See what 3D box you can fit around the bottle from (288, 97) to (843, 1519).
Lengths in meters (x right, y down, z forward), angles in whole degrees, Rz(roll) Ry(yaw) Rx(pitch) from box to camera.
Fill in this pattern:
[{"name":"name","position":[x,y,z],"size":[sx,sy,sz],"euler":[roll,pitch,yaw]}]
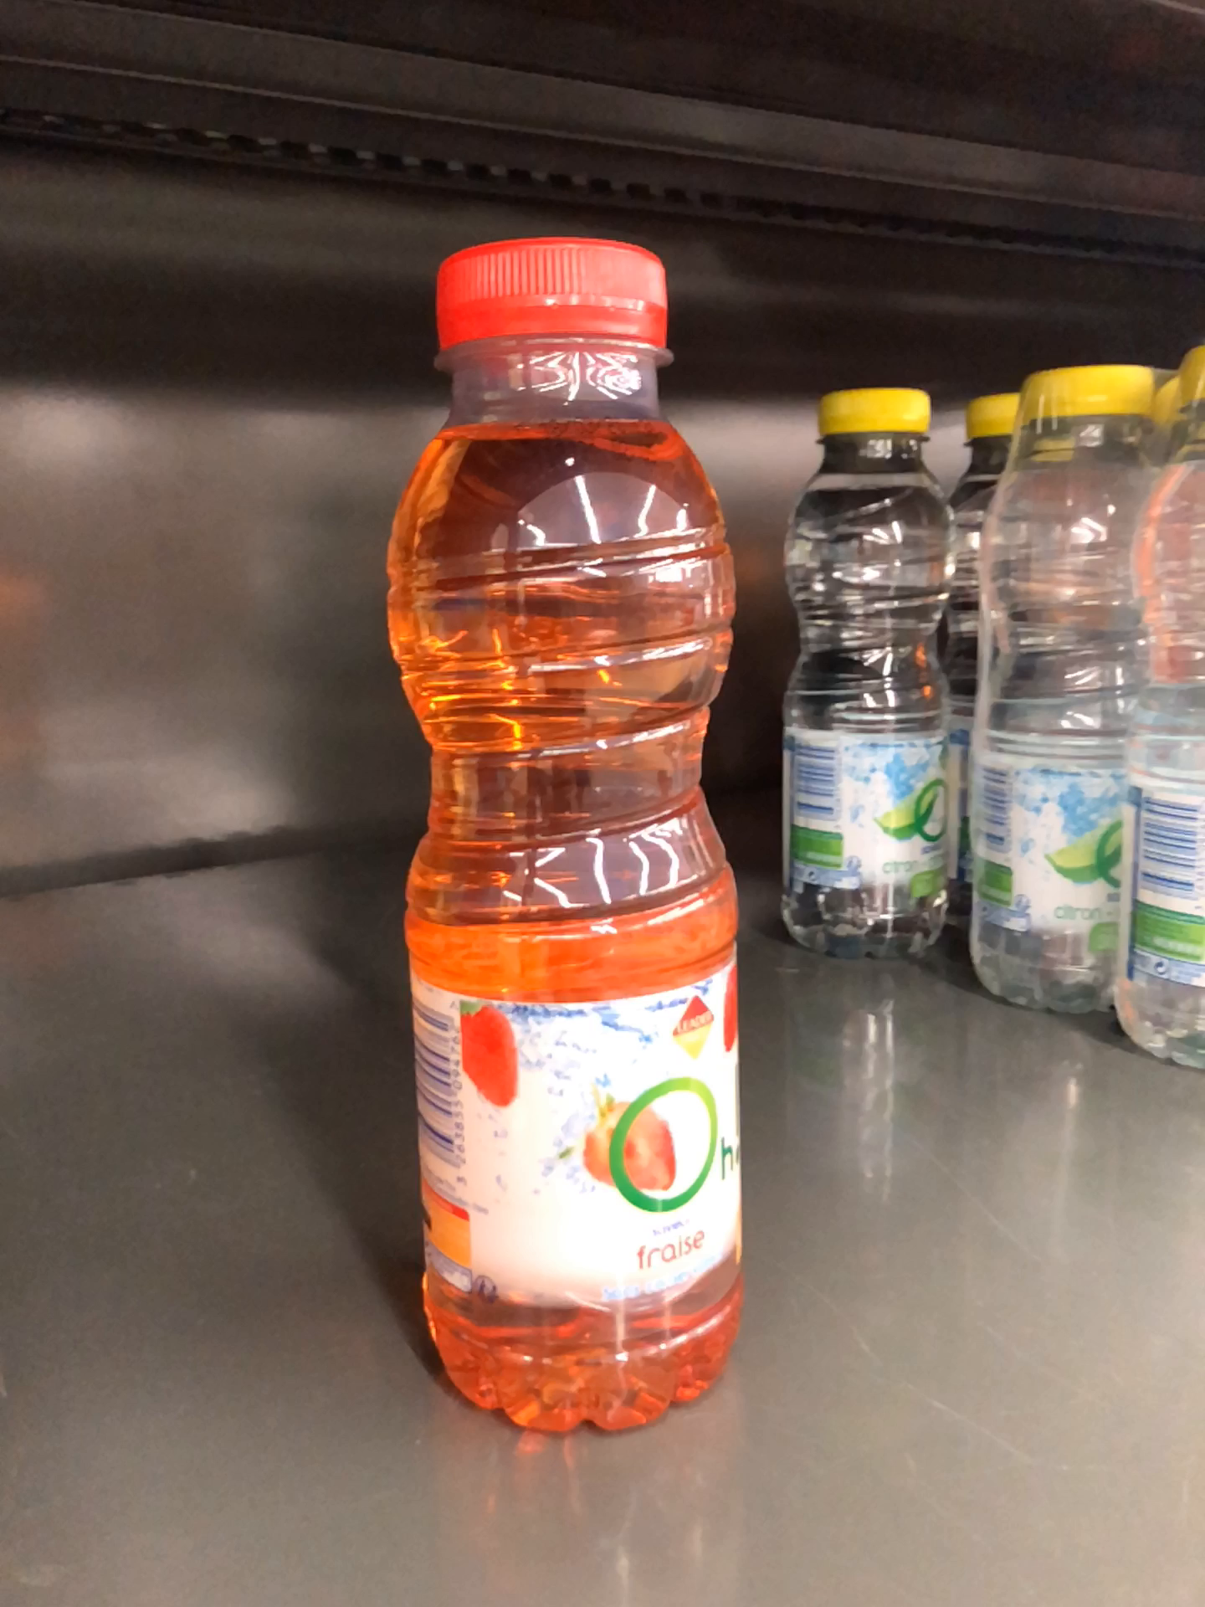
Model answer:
[{"name":"bottle","position":[-0.004,0.002,0.237],"size":[0.070,0.209,0.060],"euler":[-8,11,-32]}]
